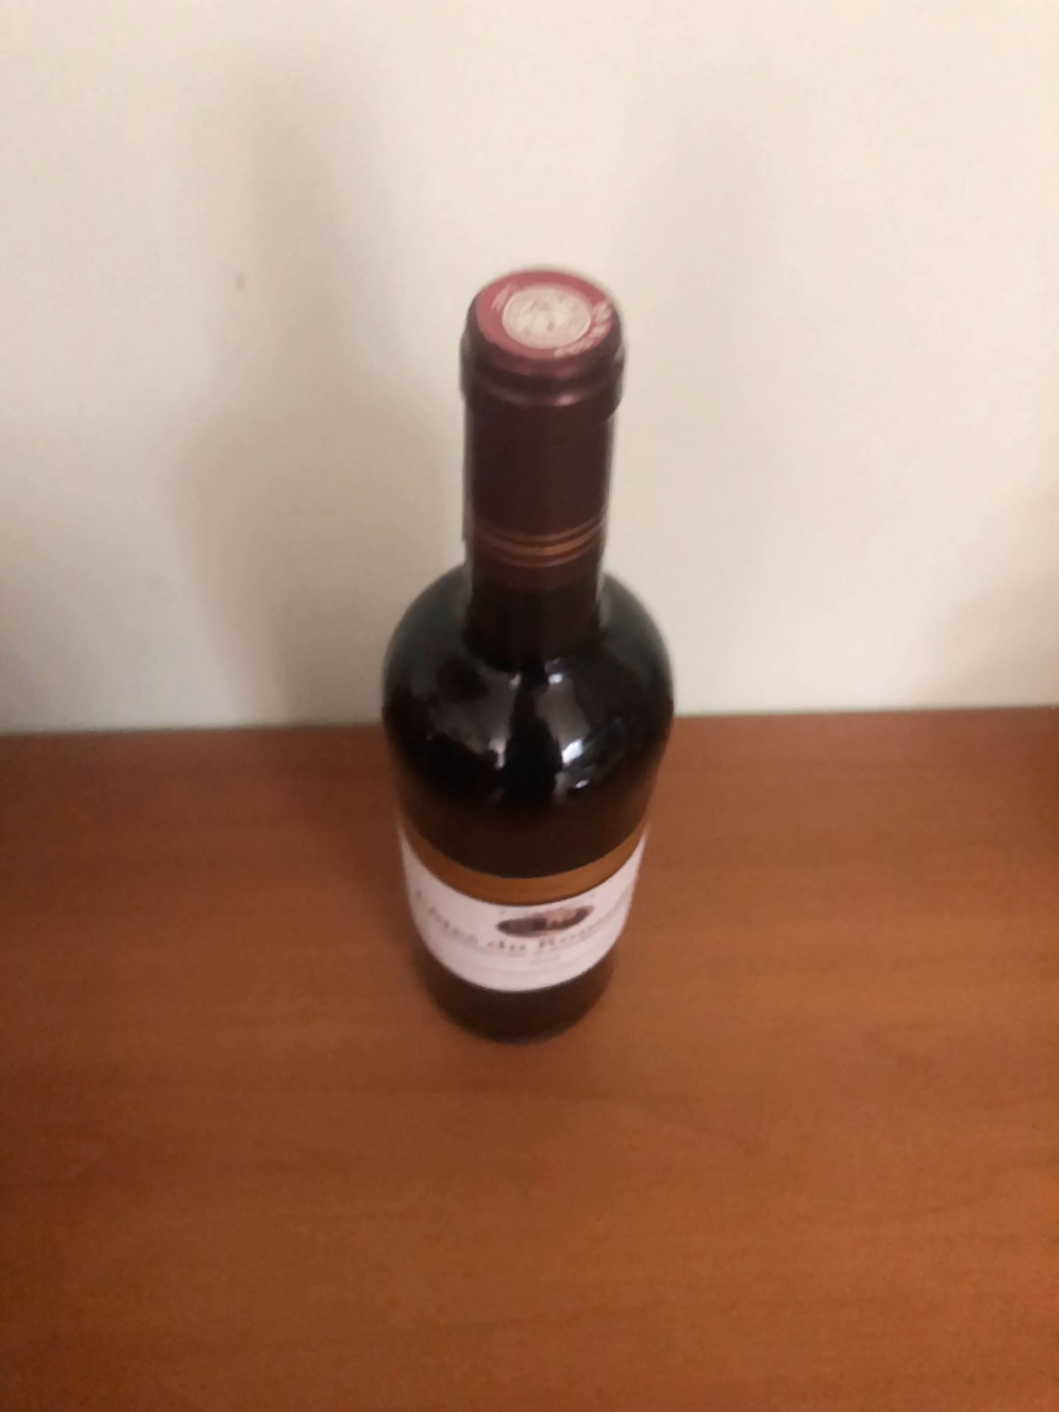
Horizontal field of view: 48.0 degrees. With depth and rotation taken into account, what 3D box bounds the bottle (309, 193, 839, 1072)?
[{"bbox_3d":[0.000,0.016,0.322,0.080,0.289,0.080,1,58,-2],"label":"bottle"}]
